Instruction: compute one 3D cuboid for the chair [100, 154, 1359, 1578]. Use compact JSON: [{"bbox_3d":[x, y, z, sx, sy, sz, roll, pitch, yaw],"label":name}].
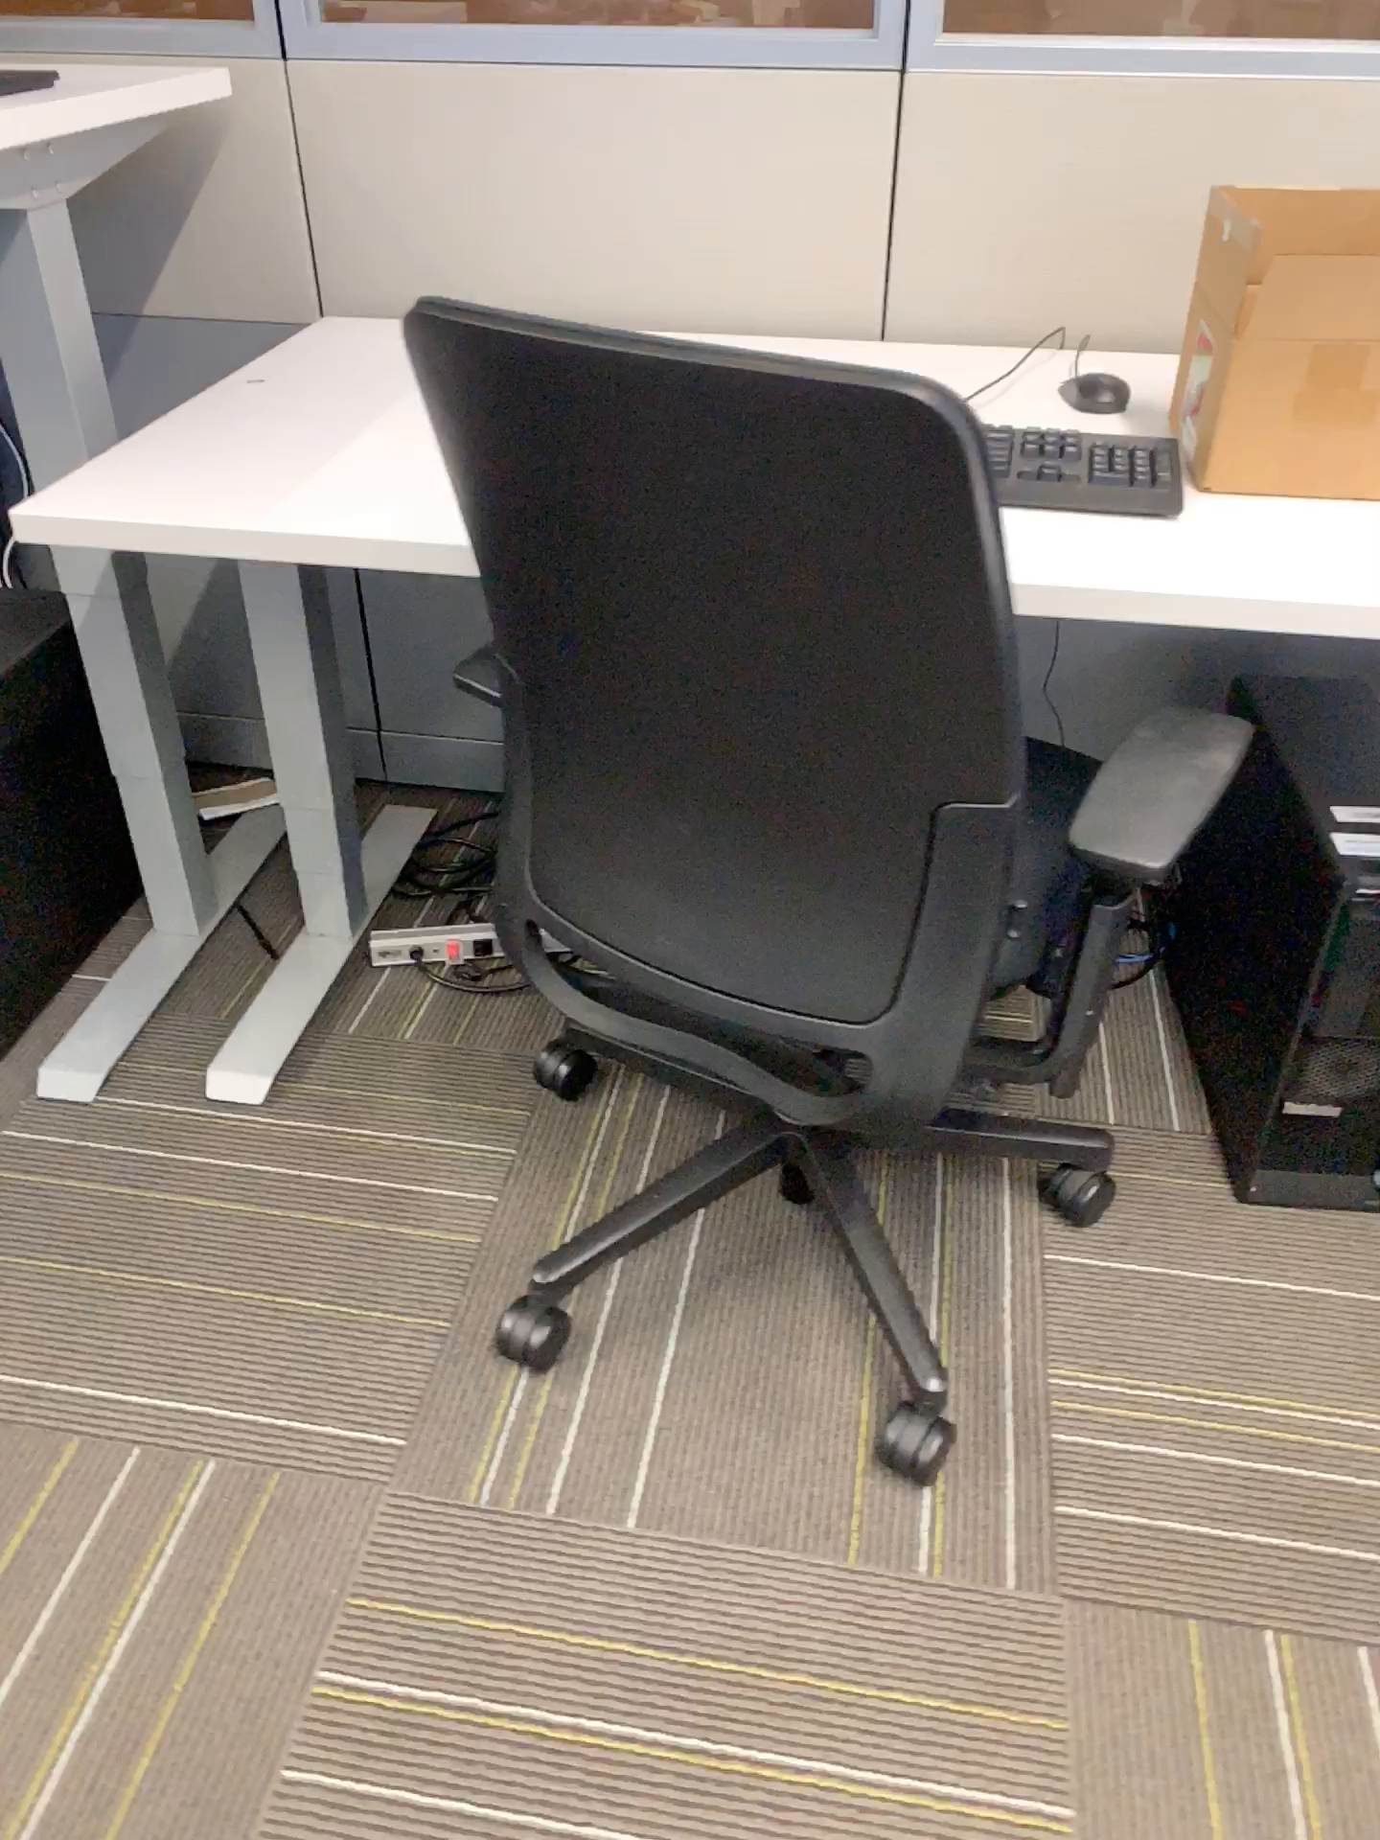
[{"bbox_3d":[0.105,-0.115,1.299,0.701,0.934,0.753,14,37,18],"label":"chair"}]
